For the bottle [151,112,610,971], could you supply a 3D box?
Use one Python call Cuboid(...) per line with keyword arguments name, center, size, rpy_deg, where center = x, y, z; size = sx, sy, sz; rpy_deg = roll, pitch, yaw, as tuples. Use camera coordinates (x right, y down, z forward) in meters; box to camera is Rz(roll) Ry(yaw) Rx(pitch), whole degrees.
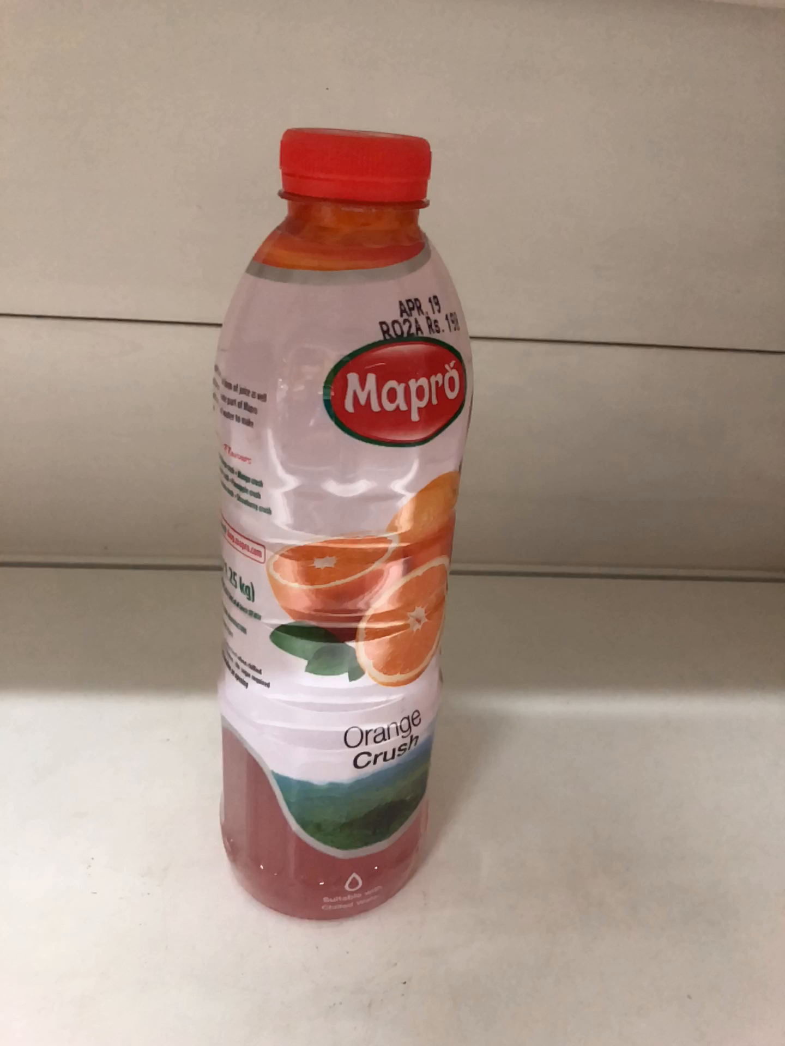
Cuboid(name="bottle", center=(-0.014, 0.008, 0.273), size=(0.090, 0.239, 0.080), rpy_deg=(-10, 28, -28))
